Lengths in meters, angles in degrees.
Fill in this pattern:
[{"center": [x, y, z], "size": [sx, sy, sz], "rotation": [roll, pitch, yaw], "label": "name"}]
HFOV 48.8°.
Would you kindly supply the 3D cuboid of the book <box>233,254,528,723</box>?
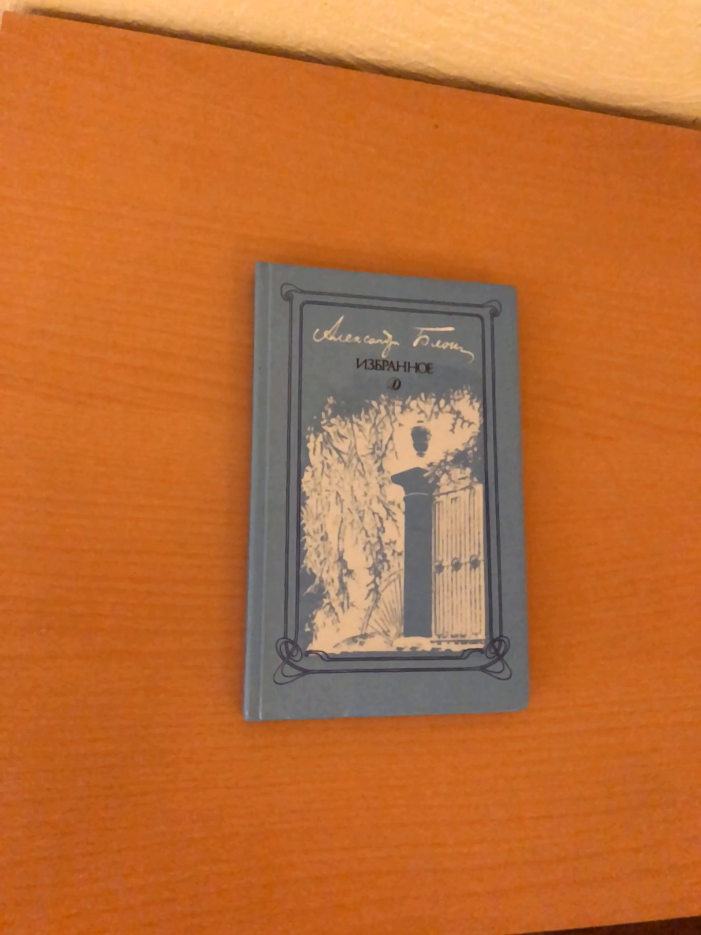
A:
[{"center": [0.015, 0.008, 0.369], "size": [0.135, 0.020, 0.210], "rotation": [2, 81, -13], "label": "book"}]
